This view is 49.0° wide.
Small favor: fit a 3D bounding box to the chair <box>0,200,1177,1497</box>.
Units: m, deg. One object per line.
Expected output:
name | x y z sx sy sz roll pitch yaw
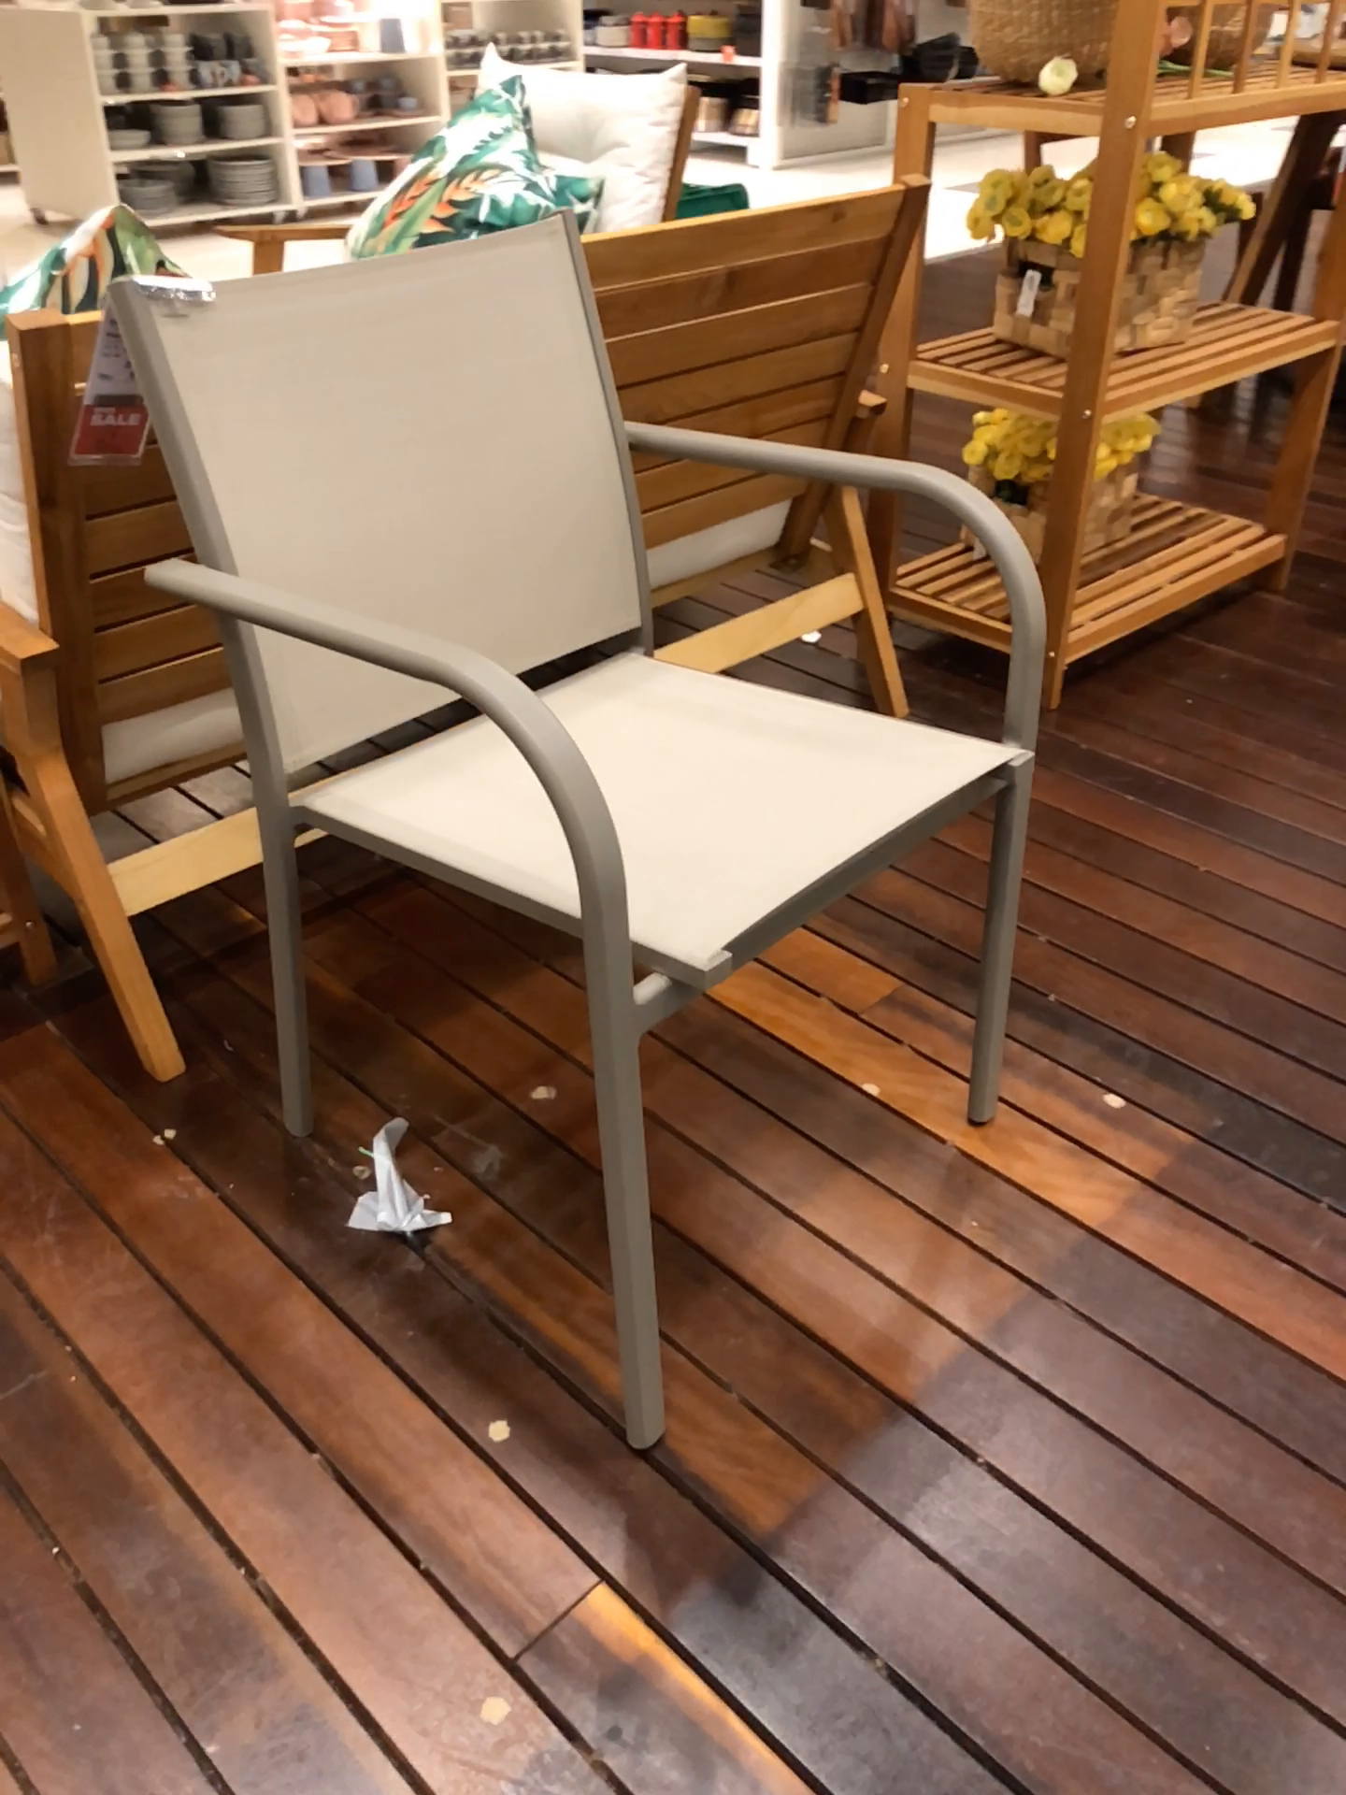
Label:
chair | -0.060 -0.111 1.294 0.612 0.794 0.623 27 41 35
